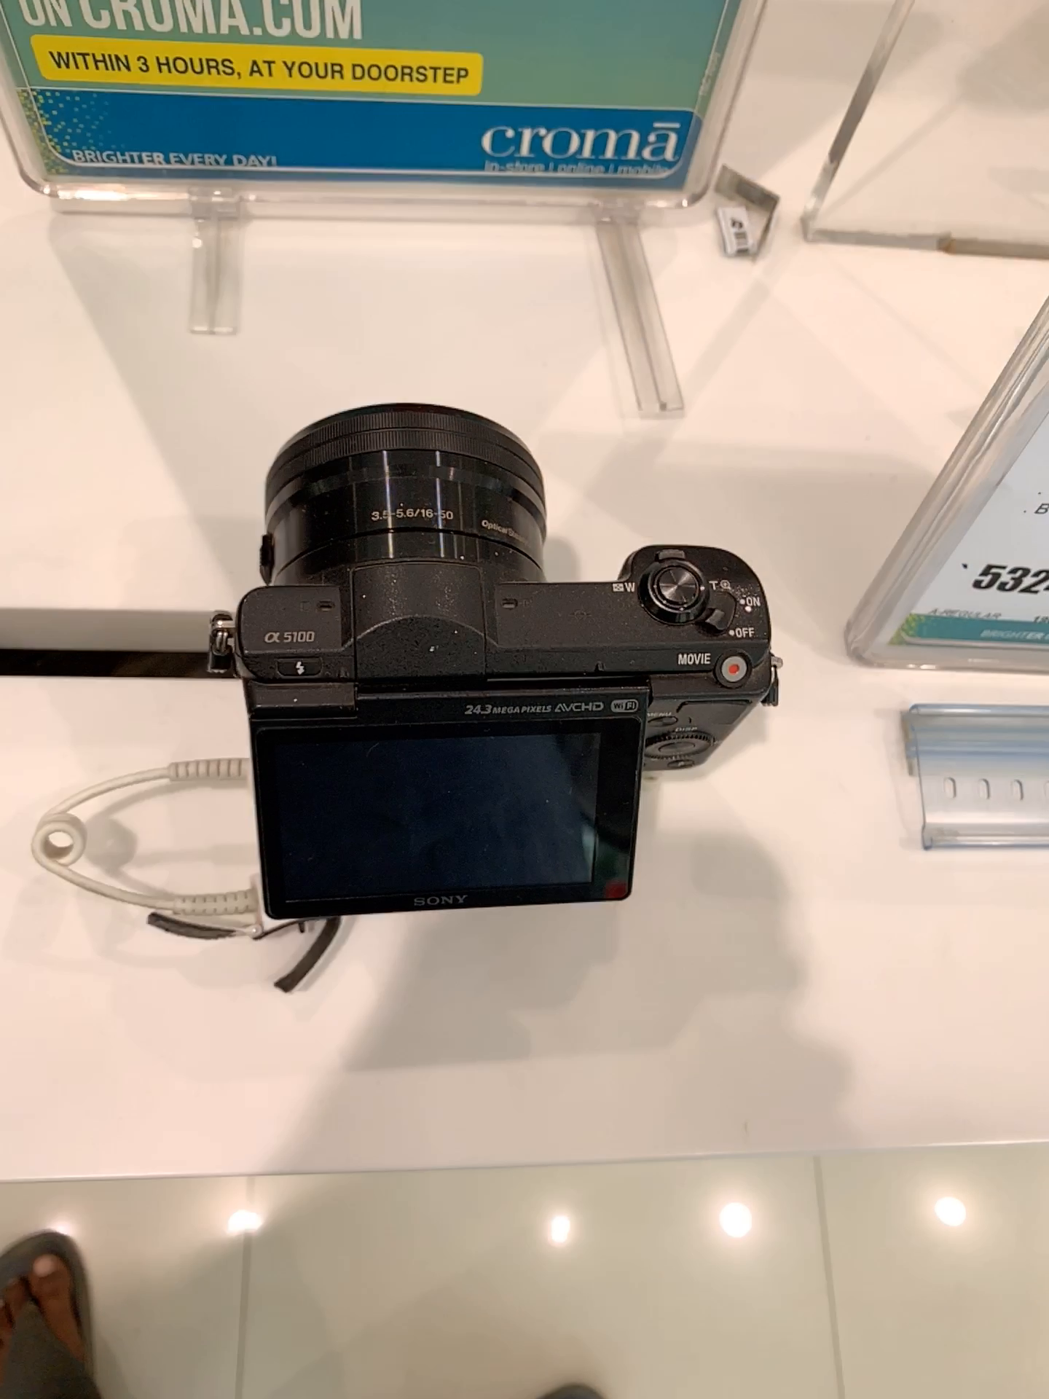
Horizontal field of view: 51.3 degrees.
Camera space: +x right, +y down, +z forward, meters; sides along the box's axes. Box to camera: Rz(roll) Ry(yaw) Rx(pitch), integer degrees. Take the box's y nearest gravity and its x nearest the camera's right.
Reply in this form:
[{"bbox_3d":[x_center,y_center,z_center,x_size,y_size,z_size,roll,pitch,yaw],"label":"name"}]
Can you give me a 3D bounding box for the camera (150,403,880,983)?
[{"bbox_3d":[-0.007,0.003,0.217,0.110,0.082,0.088,-1,69,-7],"label":"camera"}]
